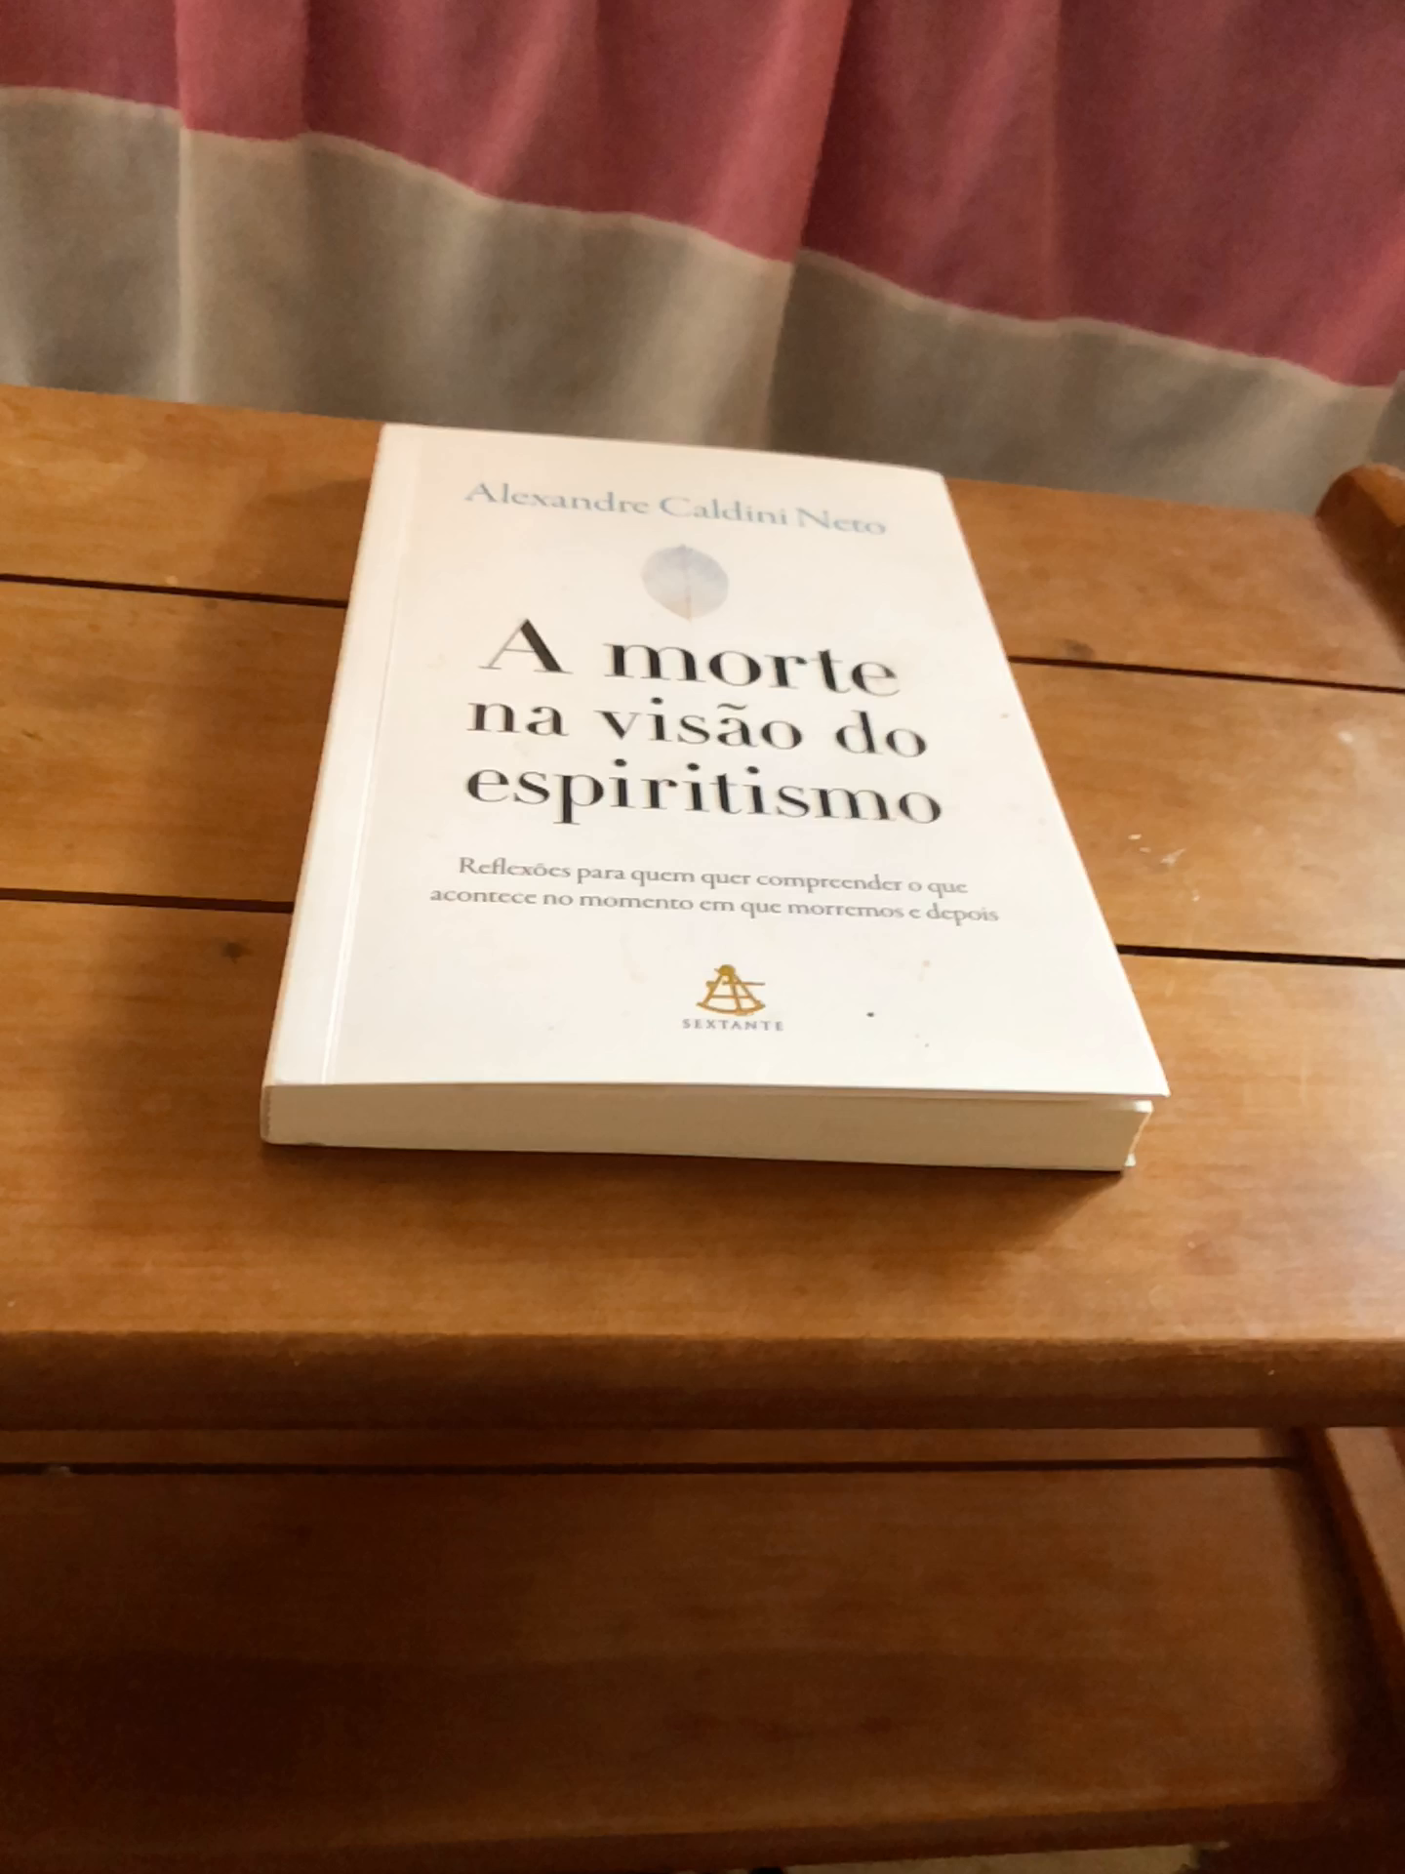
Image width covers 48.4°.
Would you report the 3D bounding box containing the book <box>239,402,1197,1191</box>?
[{"bbox_3d":[-0.002,-0.040,0.295,0.135,0.020,0.197,3,44,-8],"label":"book"}]
